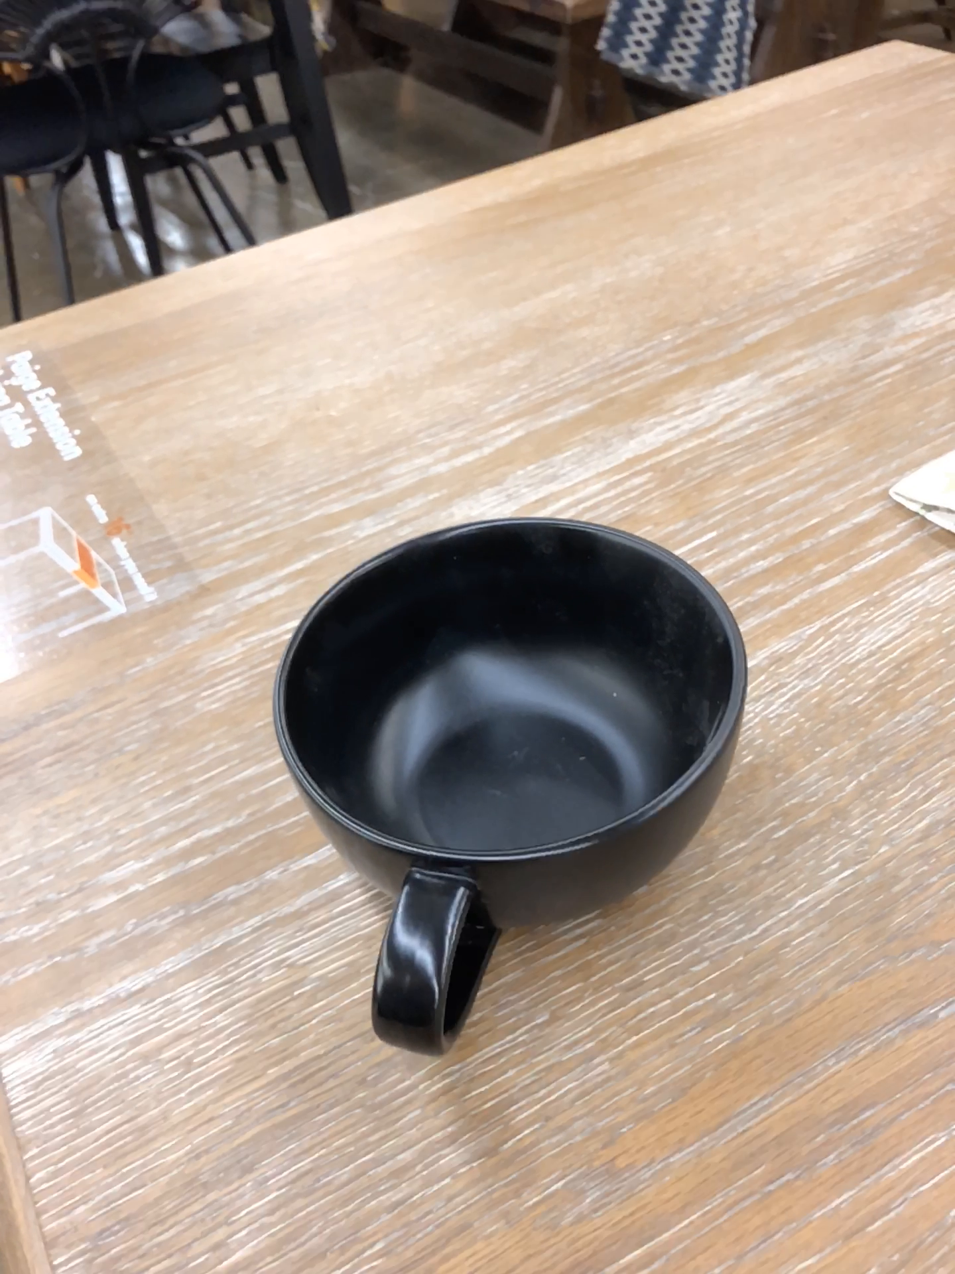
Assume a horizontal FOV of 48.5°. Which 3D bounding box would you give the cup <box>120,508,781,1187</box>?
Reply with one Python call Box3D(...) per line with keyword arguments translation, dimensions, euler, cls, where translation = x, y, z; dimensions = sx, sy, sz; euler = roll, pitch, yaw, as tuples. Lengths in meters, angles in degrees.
Box3D(translation=(0.009, 0.042, 0.307), dimensions=(0.138, 0.054, 0.175), euler=(7, 44, 15), cls="cup")
